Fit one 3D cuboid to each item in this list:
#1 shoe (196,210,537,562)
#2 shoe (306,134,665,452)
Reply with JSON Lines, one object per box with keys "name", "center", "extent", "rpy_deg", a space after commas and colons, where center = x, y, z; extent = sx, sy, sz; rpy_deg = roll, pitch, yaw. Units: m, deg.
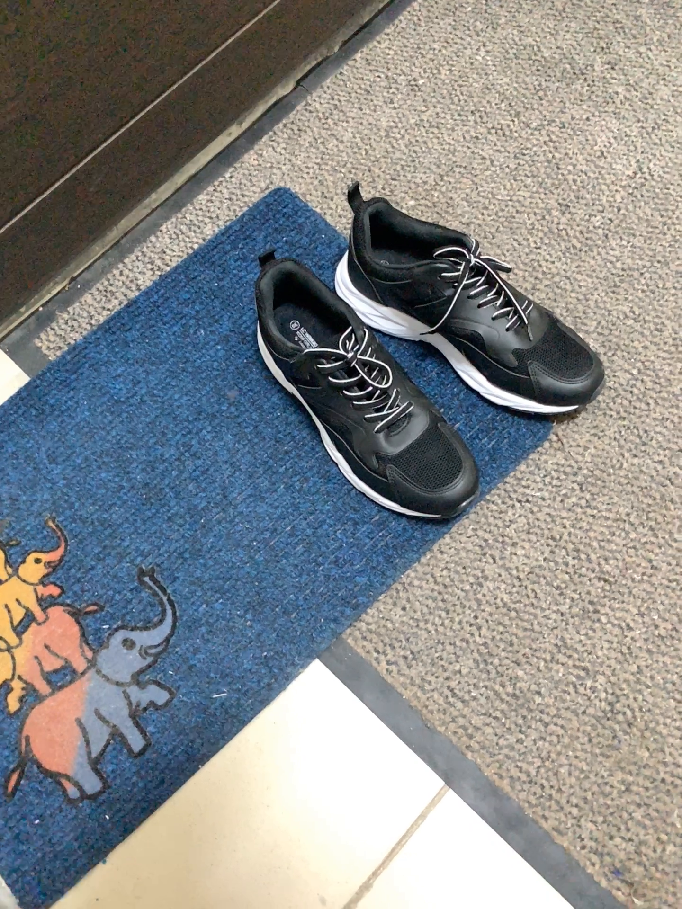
{"name": "shoe", "center": [0.015, -0.056, 0.564], "extent": [0.110, 0.100, 0.260], "rpy_deg": [-40, 72, -8]}
{"name": "shoe", "center": [0.110, -0.136, 0.587], "extent": [0.260, 0.100, 0.110], "rpy_deg": [38, 78, 16]}
